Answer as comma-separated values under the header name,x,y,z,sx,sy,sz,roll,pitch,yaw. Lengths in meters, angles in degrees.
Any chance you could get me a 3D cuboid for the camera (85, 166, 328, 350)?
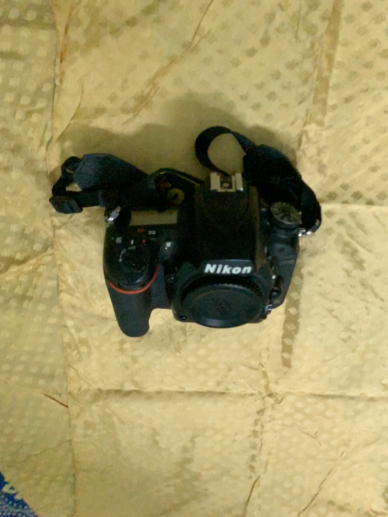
name,x,y,z,sx,sy,sz,roll,pitch,yaw
camera,0.007,0.004,0.277,0.130,0.073,0.111,1,140,0
